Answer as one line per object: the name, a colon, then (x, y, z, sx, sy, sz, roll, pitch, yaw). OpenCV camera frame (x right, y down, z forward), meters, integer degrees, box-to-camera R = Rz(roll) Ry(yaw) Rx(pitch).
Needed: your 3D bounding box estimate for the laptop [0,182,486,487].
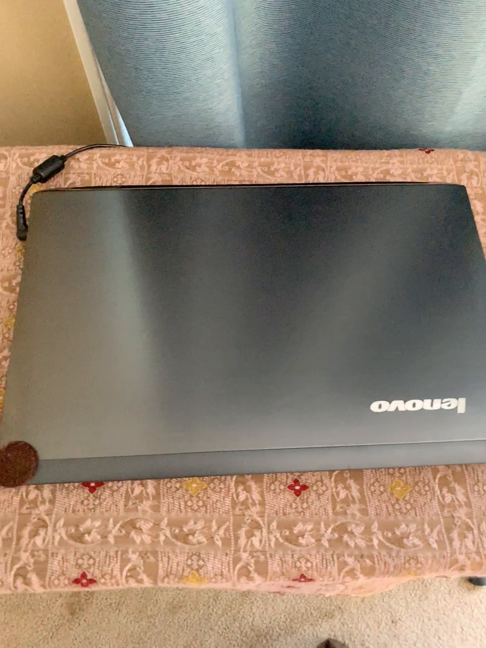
laptop: (0.012, -0.005, 0.373, 0.356, 0.011, 0.223, -2, 69, -1)
